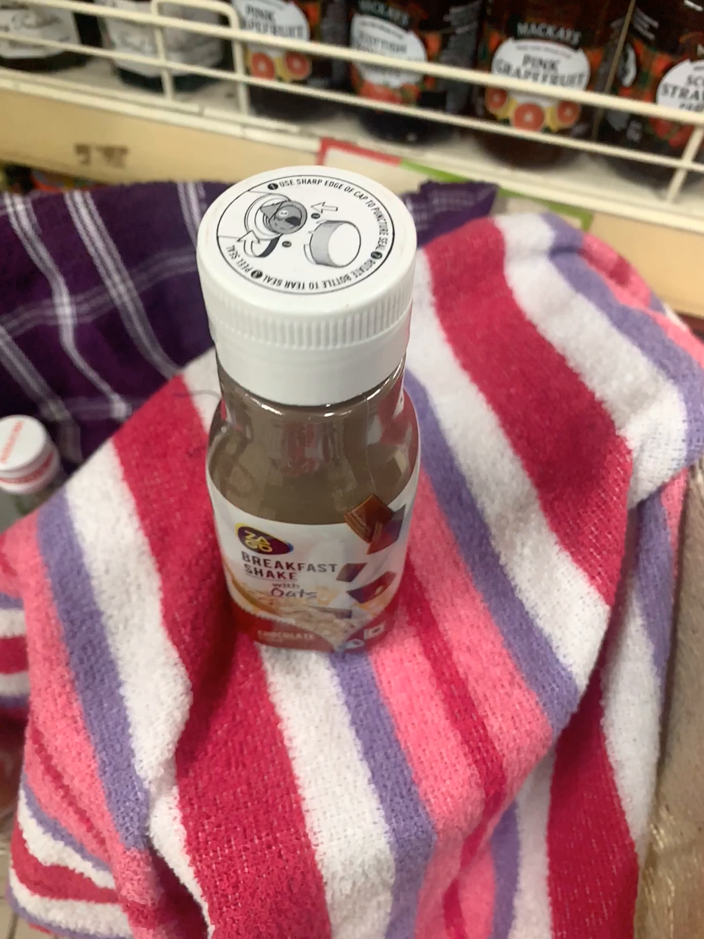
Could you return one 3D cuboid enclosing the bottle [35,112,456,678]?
[{"bbox_3d":[-0.014,-0.002,0.176,0.060,0.140,0.050,4,55,2],"label":"bottle"}]
